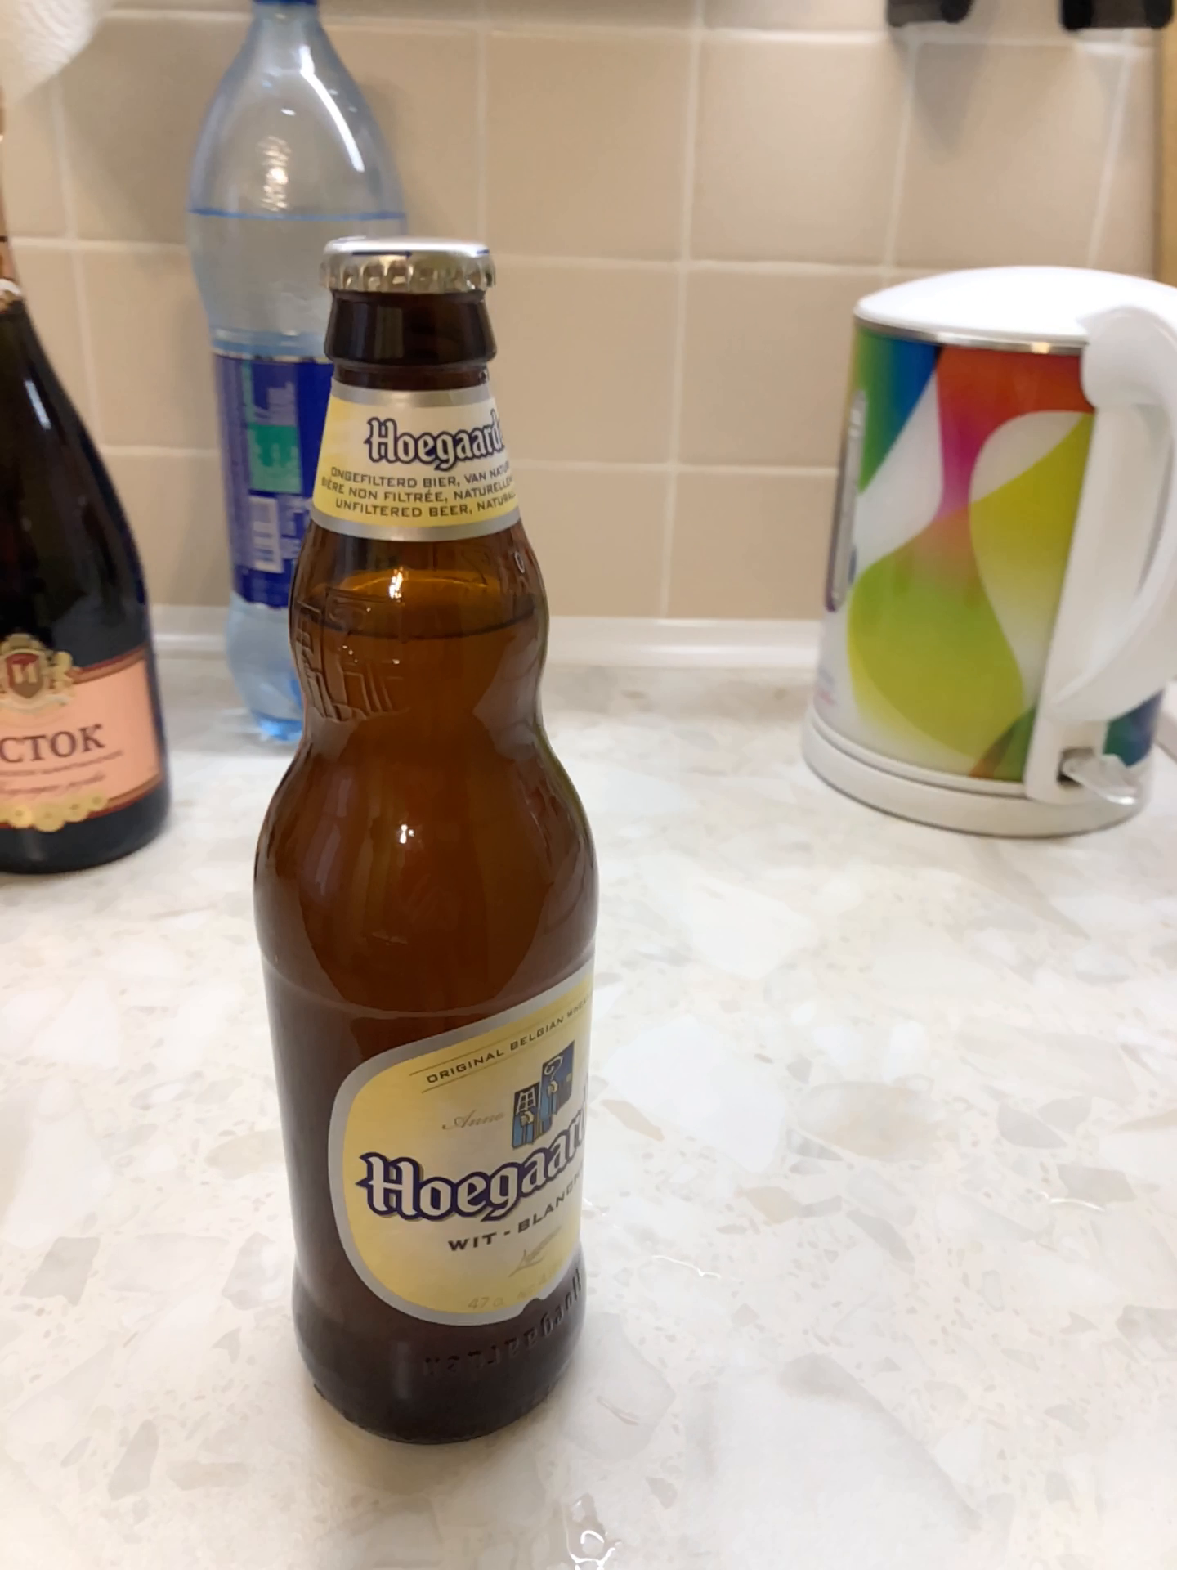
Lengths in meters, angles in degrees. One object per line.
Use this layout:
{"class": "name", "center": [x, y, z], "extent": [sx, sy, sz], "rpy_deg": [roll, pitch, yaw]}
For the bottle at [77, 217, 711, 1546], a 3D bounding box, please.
{"class": "bottle", "center": [-0.037, 0.022, 0.266], "extent": [0.070, 0.248, 0.080], "rpy_deg": [-19, 32, -38]}
